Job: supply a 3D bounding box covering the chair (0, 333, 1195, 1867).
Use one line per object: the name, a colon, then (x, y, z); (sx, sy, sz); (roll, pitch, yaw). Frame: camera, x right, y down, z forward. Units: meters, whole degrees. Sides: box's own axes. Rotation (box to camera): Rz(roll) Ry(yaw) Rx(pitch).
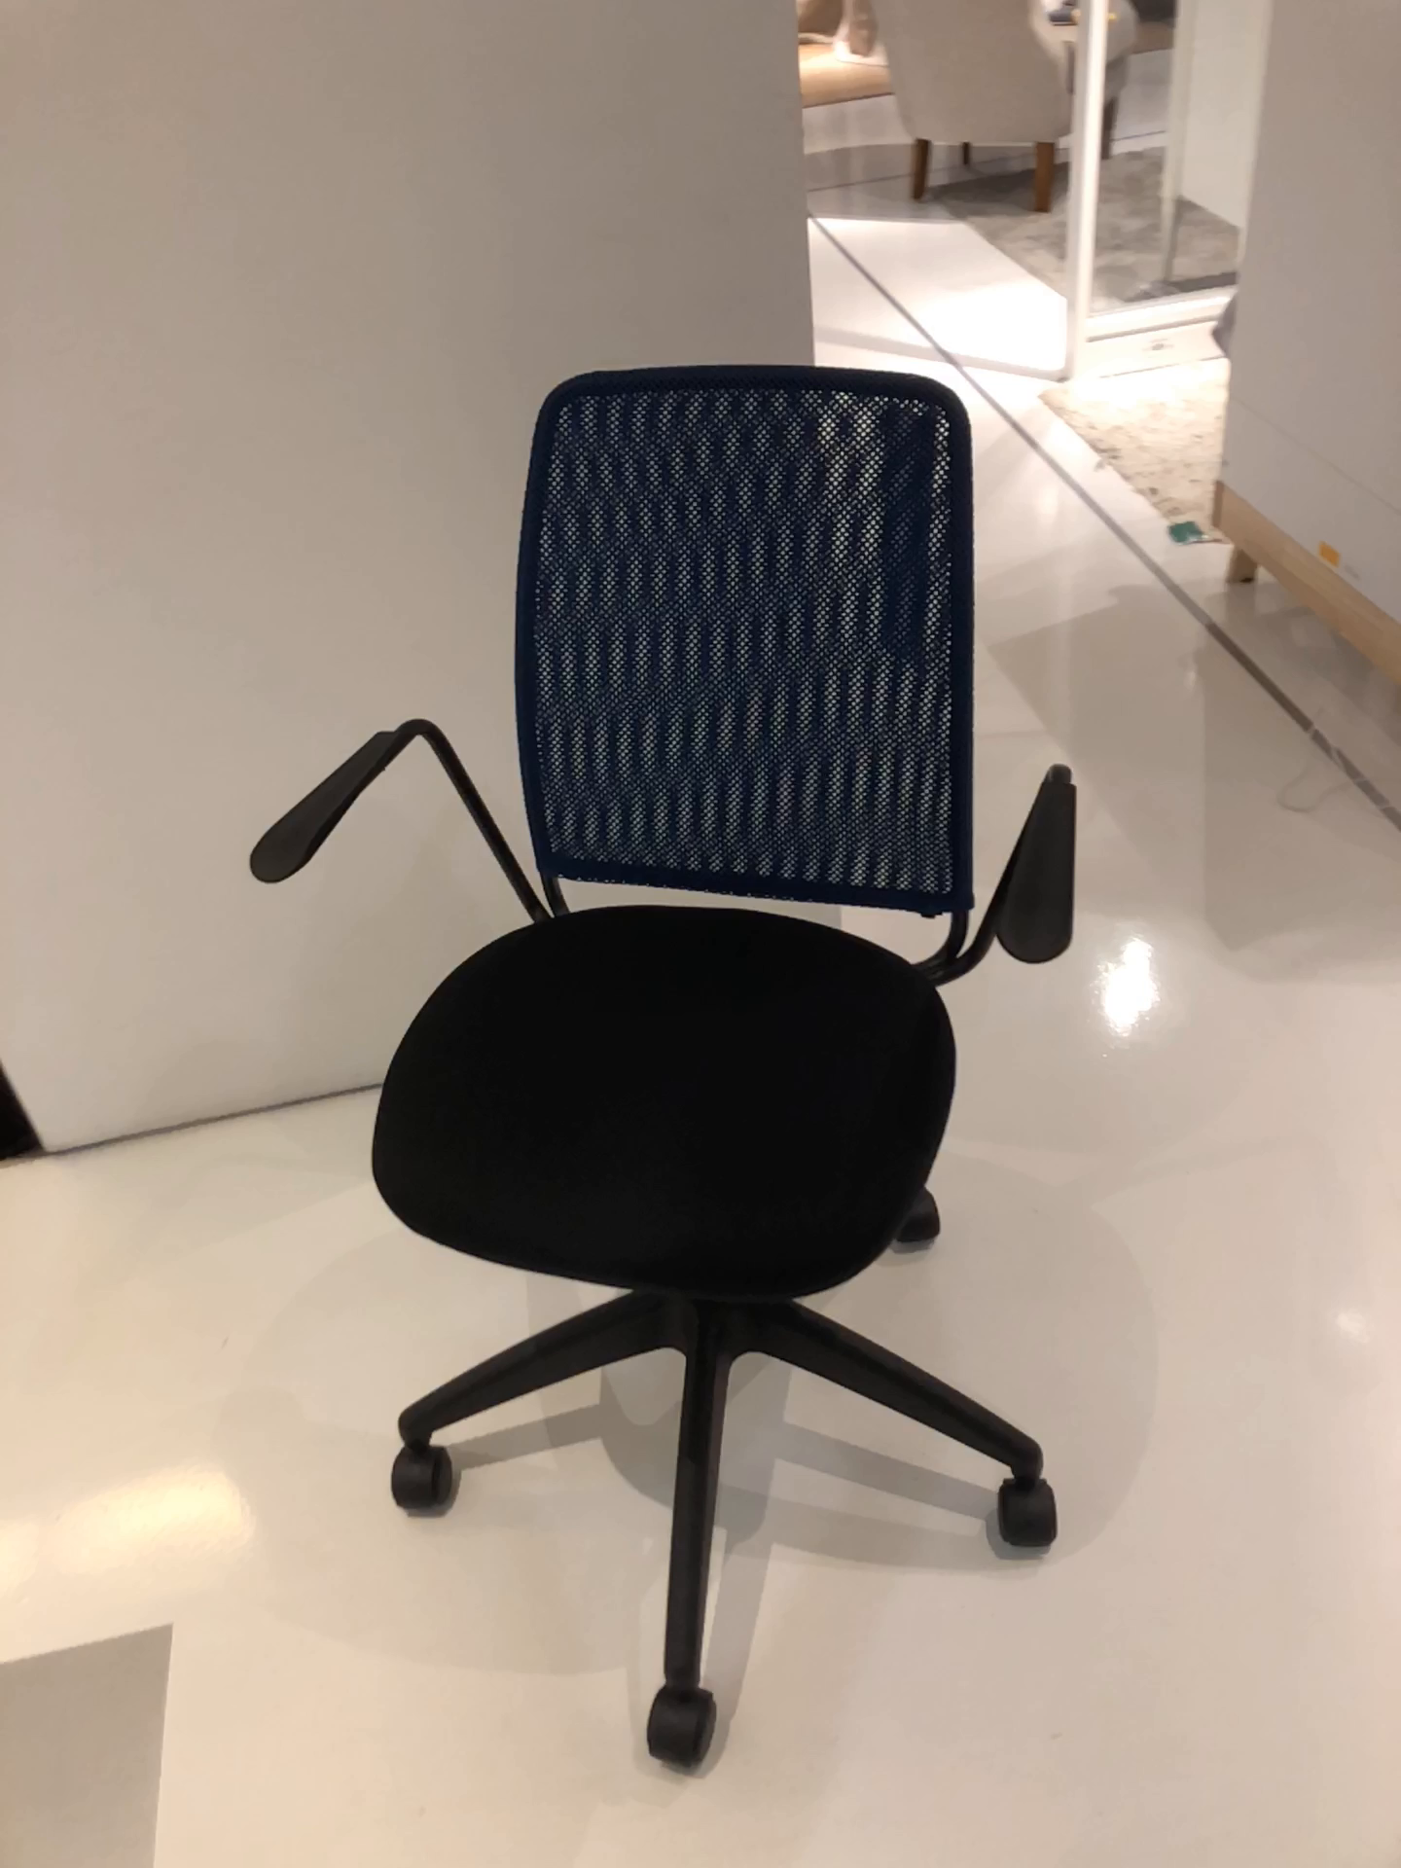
chair: (-0.022, 0.112, 1.220); (0.661, 0.923, 0.705); (7, 41, 17)
